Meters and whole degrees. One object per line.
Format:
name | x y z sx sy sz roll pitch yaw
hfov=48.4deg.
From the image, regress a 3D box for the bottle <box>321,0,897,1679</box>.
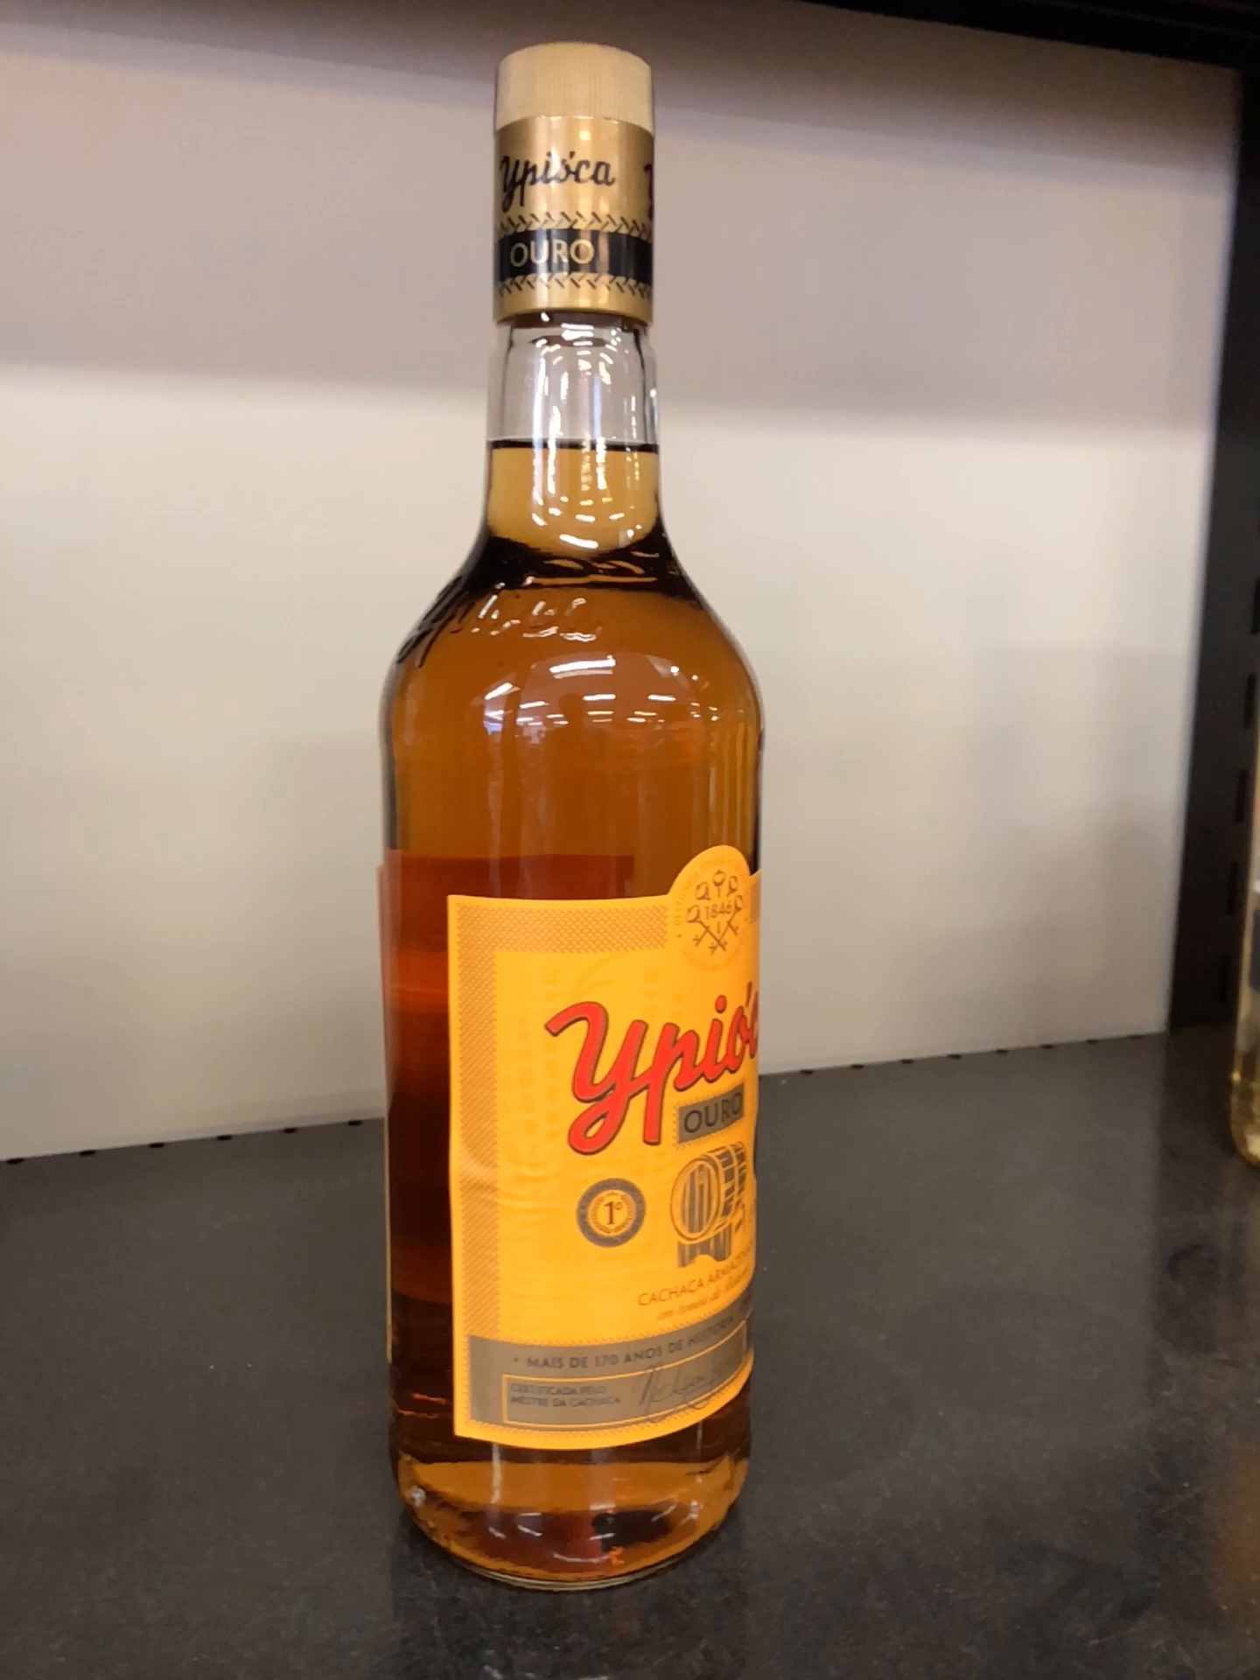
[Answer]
bottle | -0.008 -0.002 0.284 0.070 0.309 0.080 11 14 43
